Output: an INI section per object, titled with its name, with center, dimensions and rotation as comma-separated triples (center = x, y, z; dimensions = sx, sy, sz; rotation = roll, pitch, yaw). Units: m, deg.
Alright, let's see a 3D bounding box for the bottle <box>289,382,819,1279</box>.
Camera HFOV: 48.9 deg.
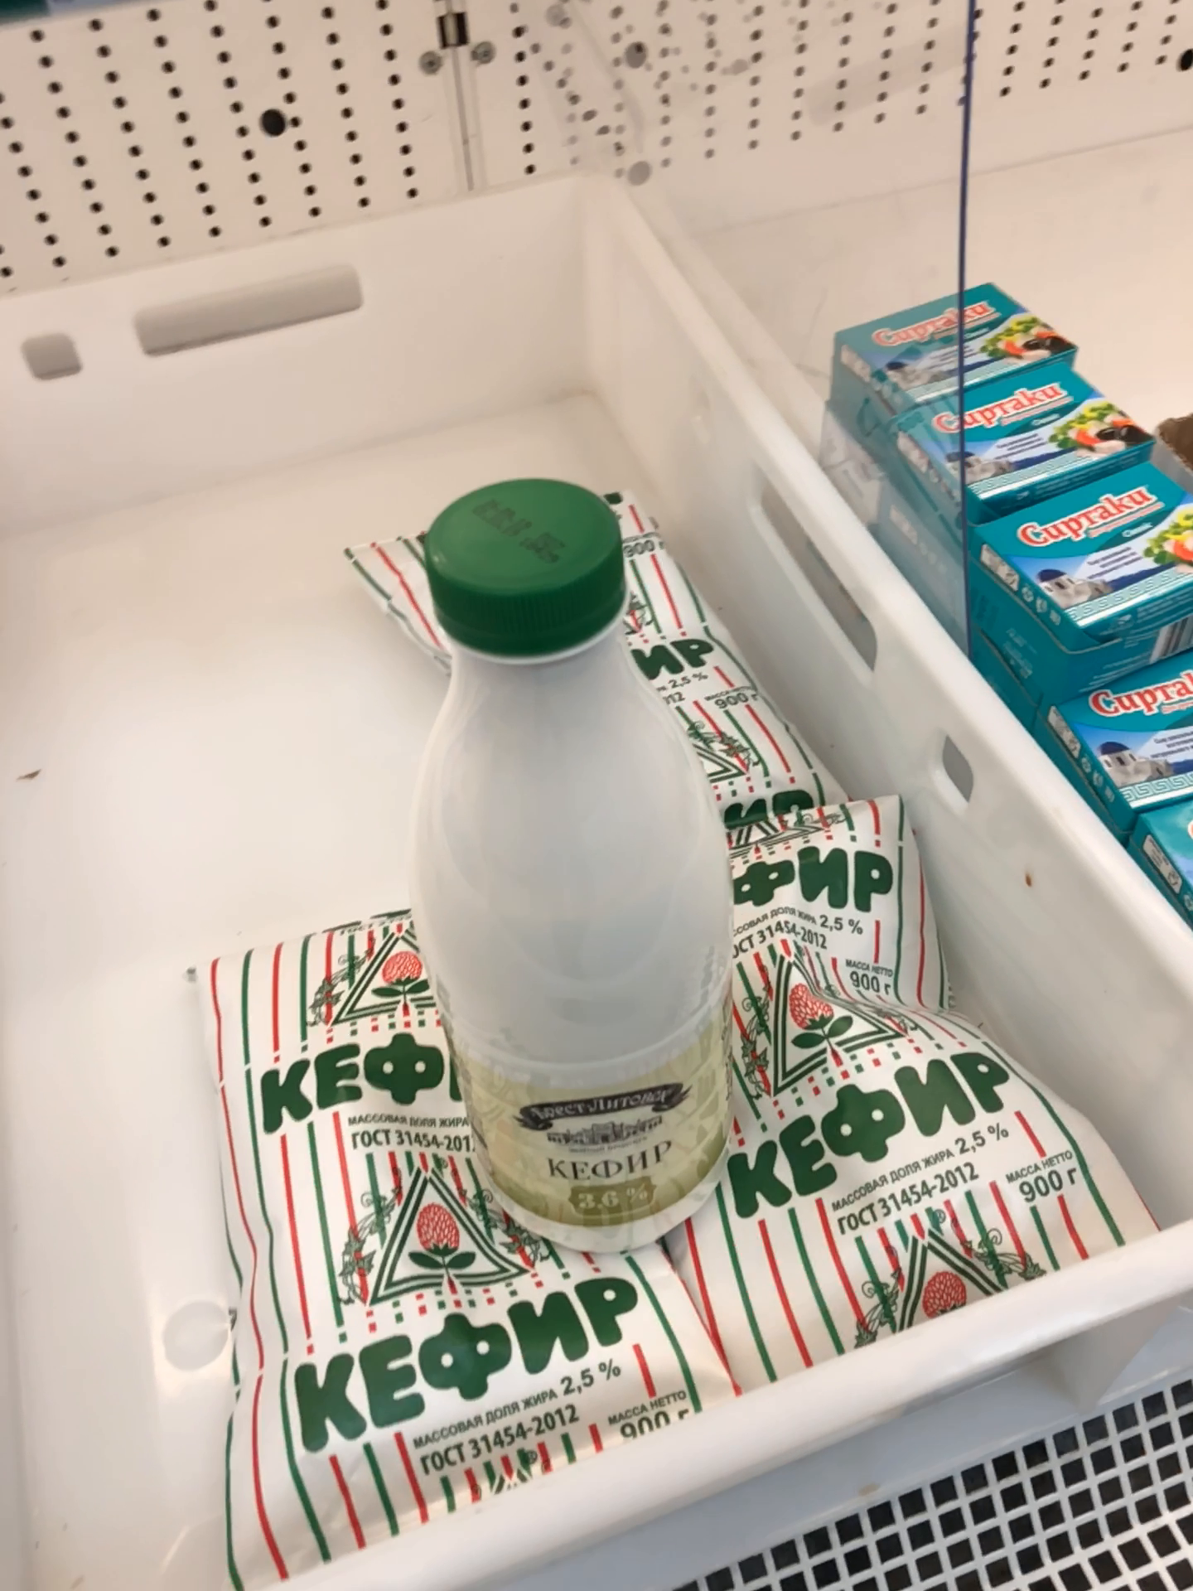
[bottle]
center = -0.004, 0.035, 0.355
dimensions = 0.090, 0.269, 0.090
rotation = -2, 51, 2
